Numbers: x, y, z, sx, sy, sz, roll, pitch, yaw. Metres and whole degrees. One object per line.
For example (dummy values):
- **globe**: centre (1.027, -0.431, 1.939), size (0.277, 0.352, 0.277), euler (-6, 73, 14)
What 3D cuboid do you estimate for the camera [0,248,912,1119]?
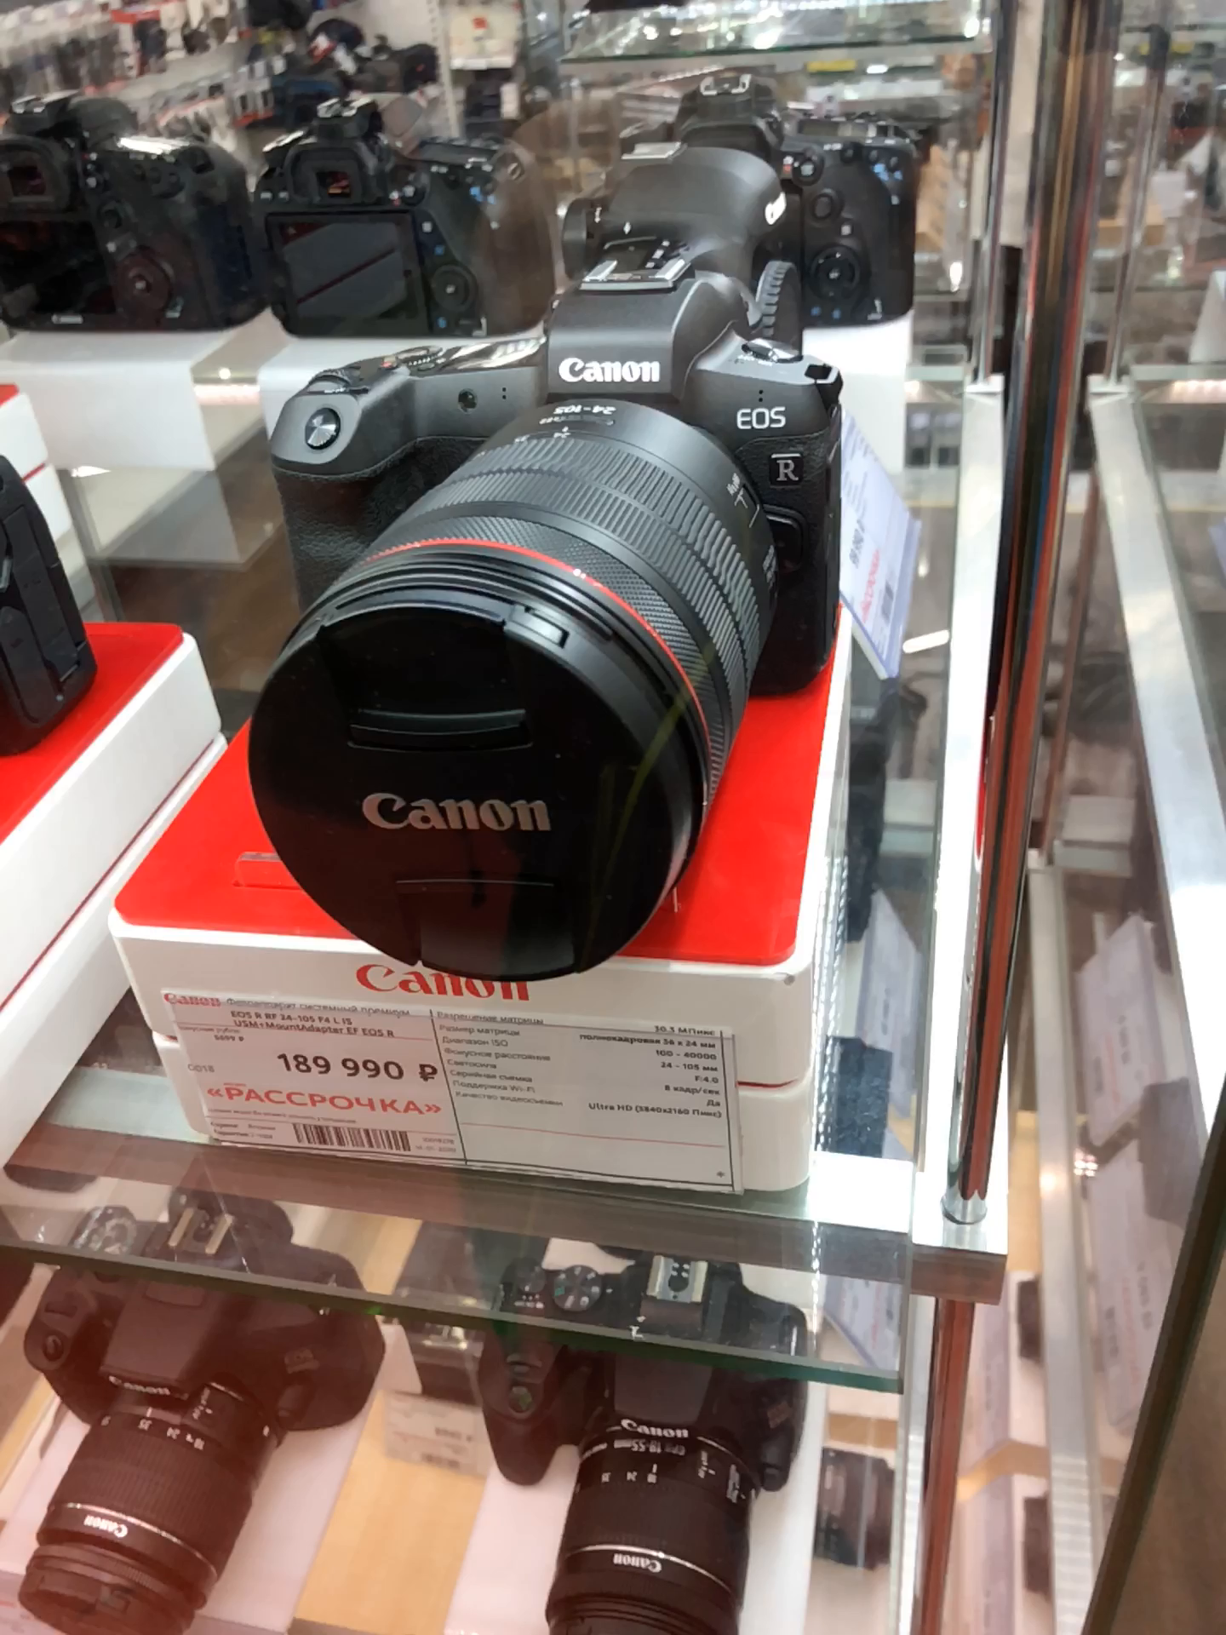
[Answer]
- **camera**: centre (-0.010, -0.047, 0.310), size (0.140, 0.110, 0.184), euler (4, 36, 13)
